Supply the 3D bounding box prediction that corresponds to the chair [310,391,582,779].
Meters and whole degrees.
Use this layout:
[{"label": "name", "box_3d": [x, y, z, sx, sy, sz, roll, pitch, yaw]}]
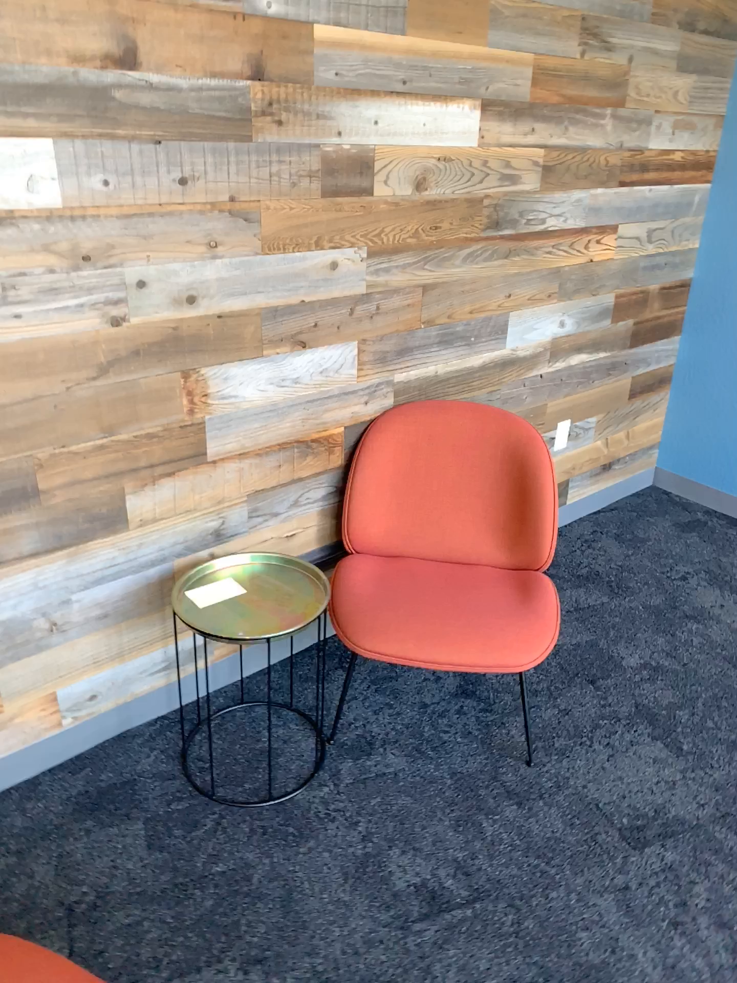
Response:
[{"label": "chair", "box_3d": [0.176, 0.210, 2.060, 0.570, 0.756, 0.714, 3, 25, 3]}]
